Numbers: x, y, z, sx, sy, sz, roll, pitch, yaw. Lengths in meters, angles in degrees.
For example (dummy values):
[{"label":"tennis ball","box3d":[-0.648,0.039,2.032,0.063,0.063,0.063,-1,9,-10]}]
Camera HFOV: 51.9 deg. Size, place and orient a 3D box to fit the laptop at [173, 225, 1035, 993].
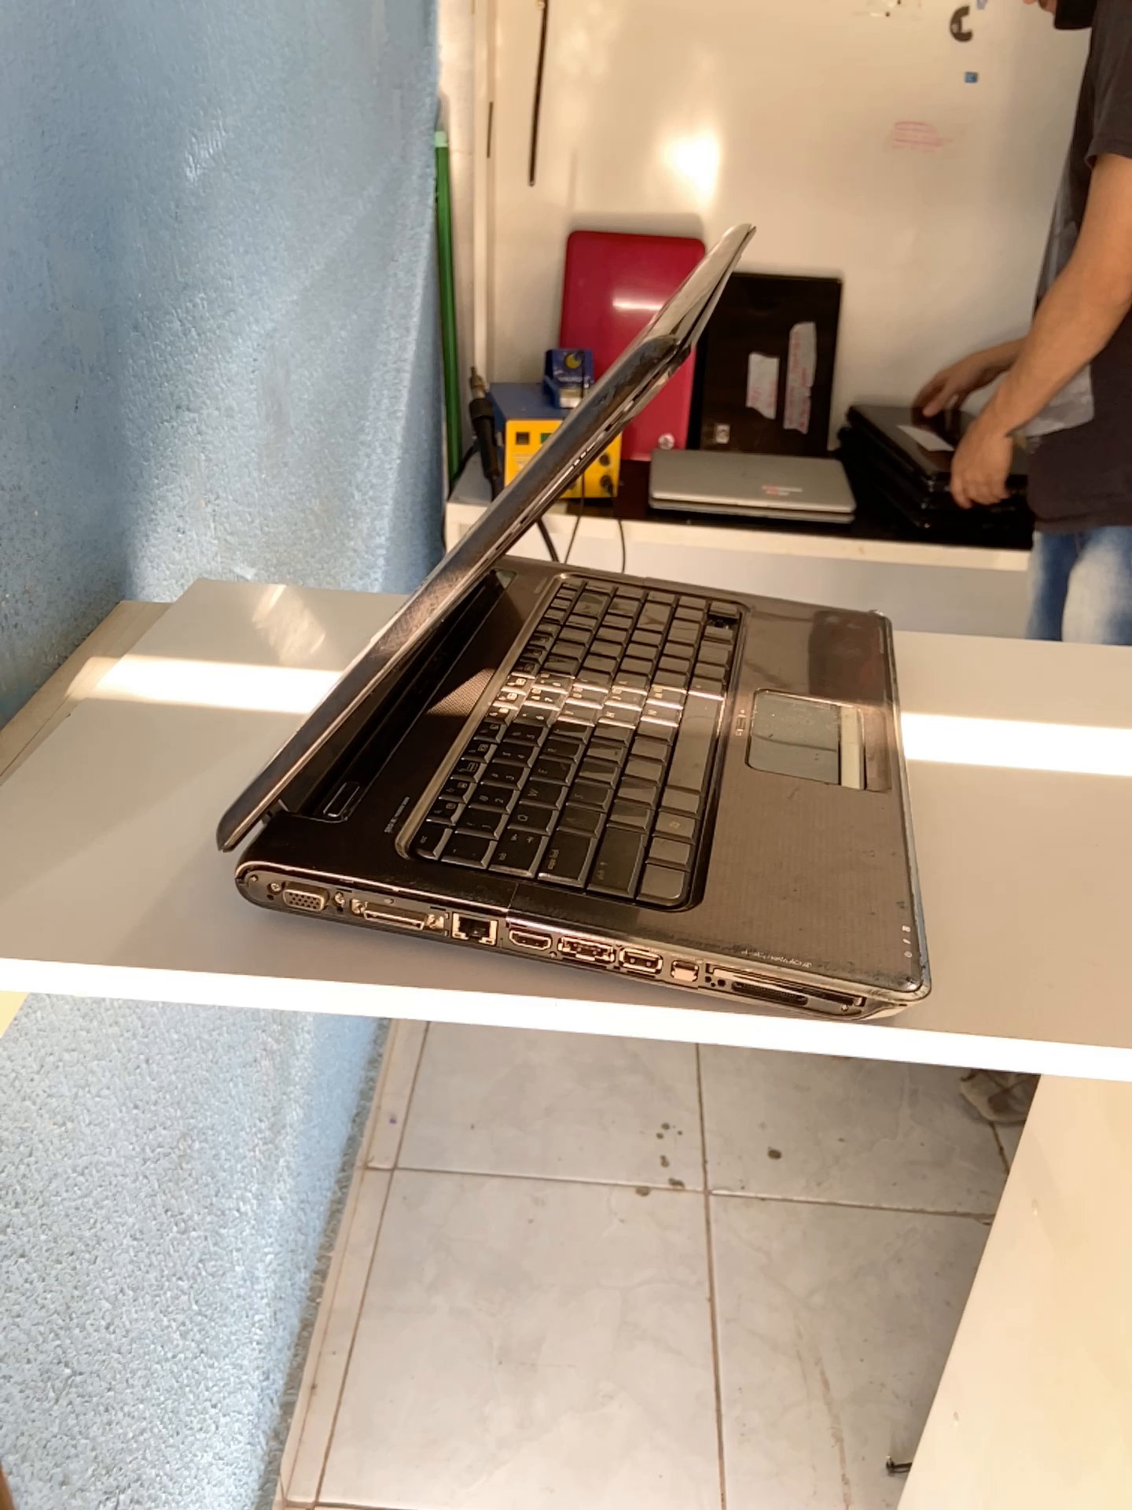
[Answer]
[{"label":"laptop","box3d":[0.037,-0.105,0.516,0.244,0.190,0.346,9,30,9]}]
